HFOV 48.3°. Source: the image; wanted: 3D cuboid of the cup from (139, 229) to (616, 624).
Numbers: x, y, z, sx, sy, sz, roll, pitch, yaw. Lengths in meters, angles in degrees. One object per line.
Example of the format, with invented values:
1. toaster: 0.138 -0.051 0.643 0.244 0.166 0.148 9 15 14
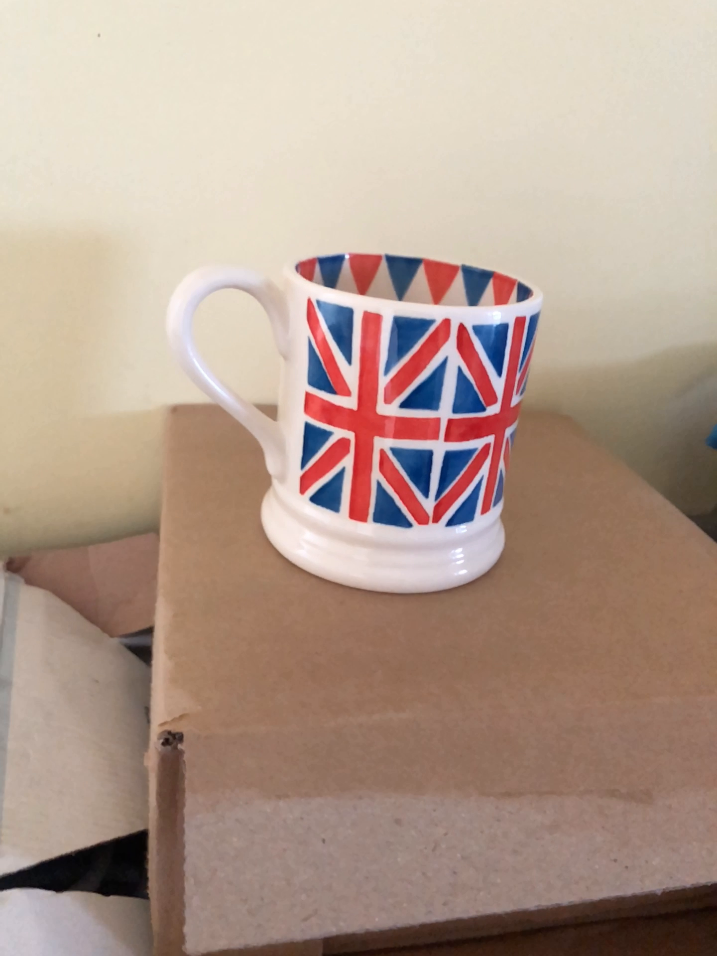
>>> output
1. cup: -0.003 -0.025 0.278 0.130 0.099 0.100 -2 26 -11
